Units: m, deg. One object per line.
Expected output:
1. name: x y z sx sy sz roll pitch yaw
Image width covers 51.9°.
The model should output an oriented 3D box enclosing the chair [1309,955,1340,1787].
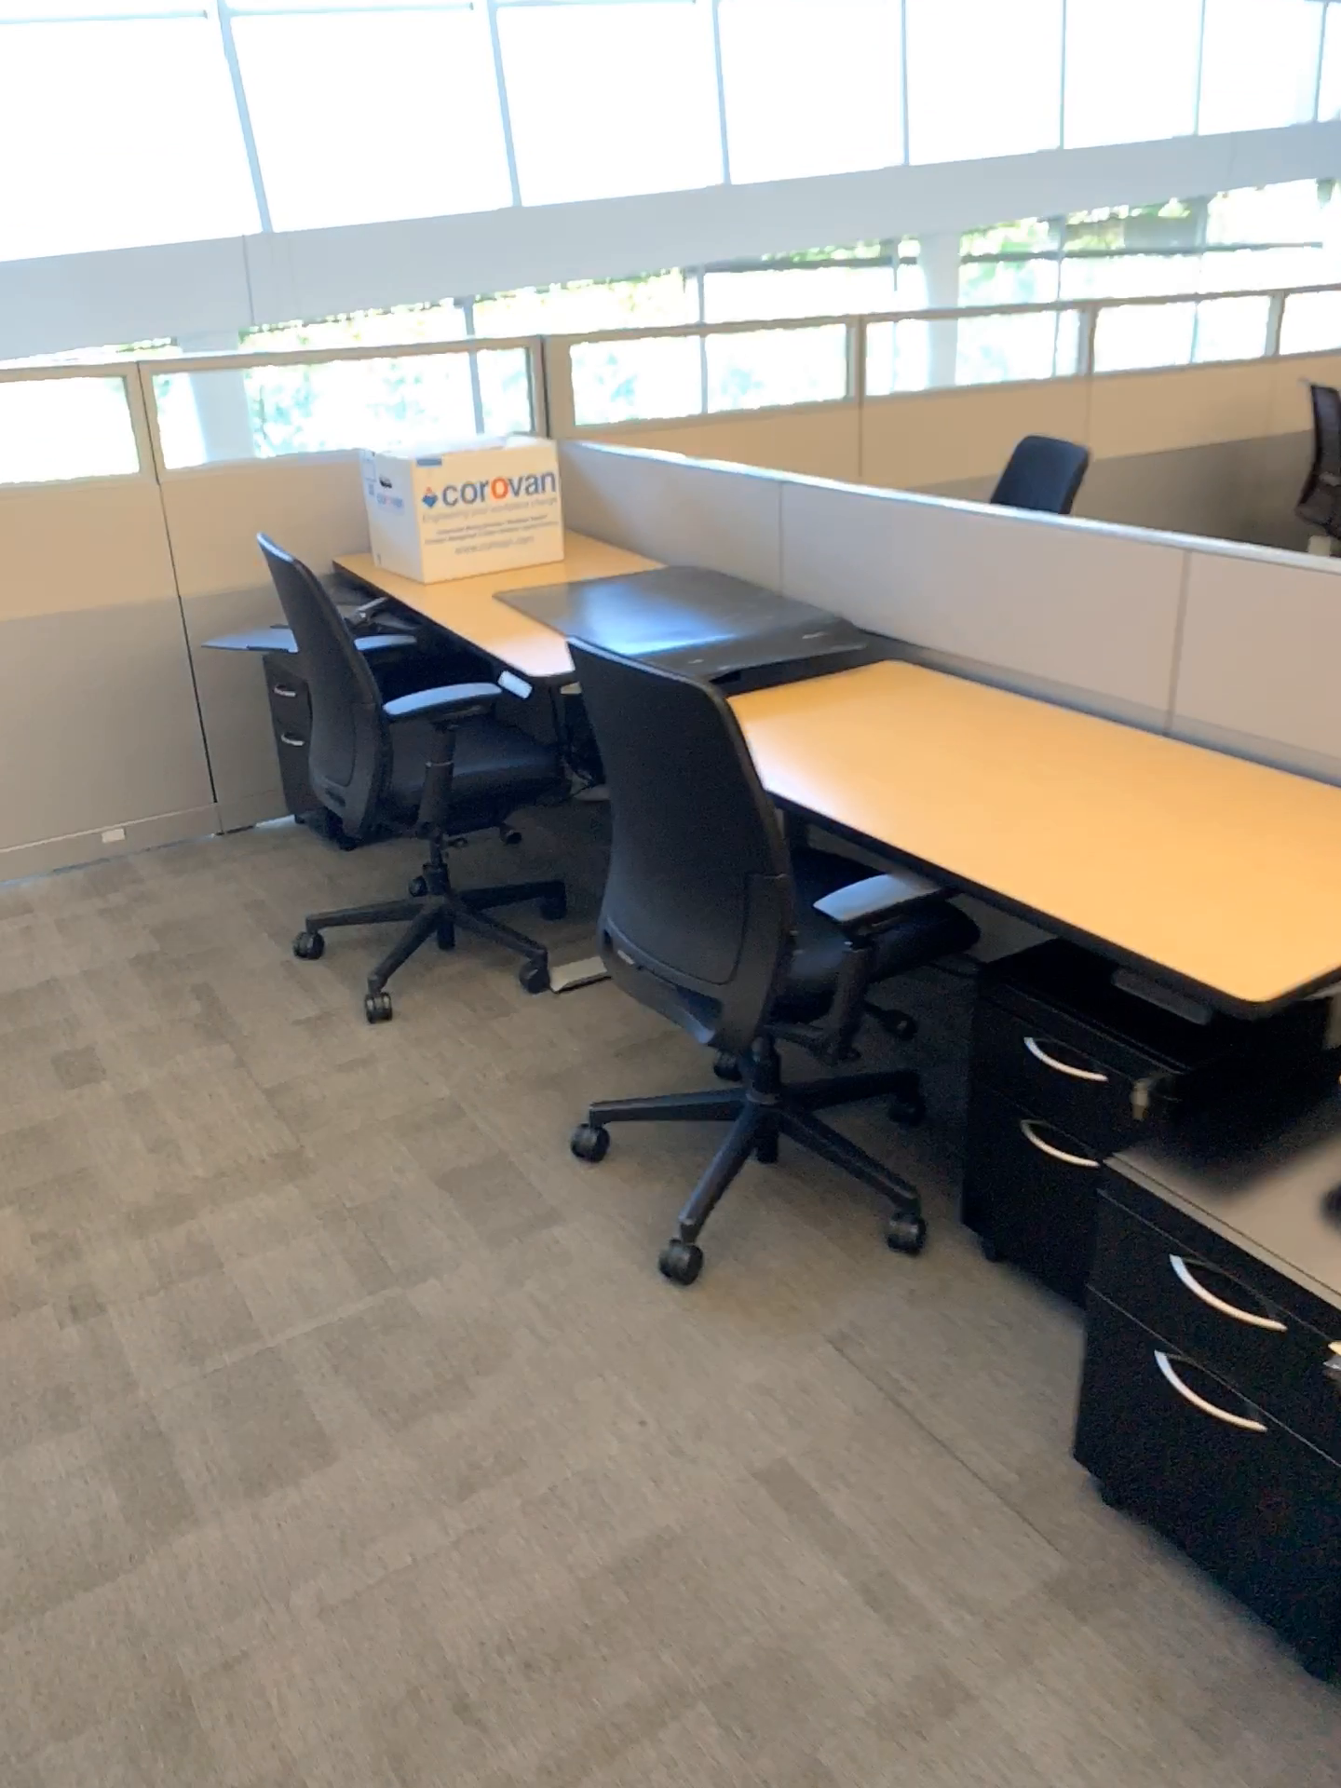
1. chair: 0.937 0.653 1.021 0.460 0.994 0.543 -16 28 -28

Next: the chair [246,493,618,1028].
1. chair: -0.527 -0.329 3.112 0.600 0.994 0.563 -12 26 -22

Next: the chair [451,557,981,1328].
1. chair: 0.072 0.039 2.215 0.581 0.994 0.522 -17 28 -29
